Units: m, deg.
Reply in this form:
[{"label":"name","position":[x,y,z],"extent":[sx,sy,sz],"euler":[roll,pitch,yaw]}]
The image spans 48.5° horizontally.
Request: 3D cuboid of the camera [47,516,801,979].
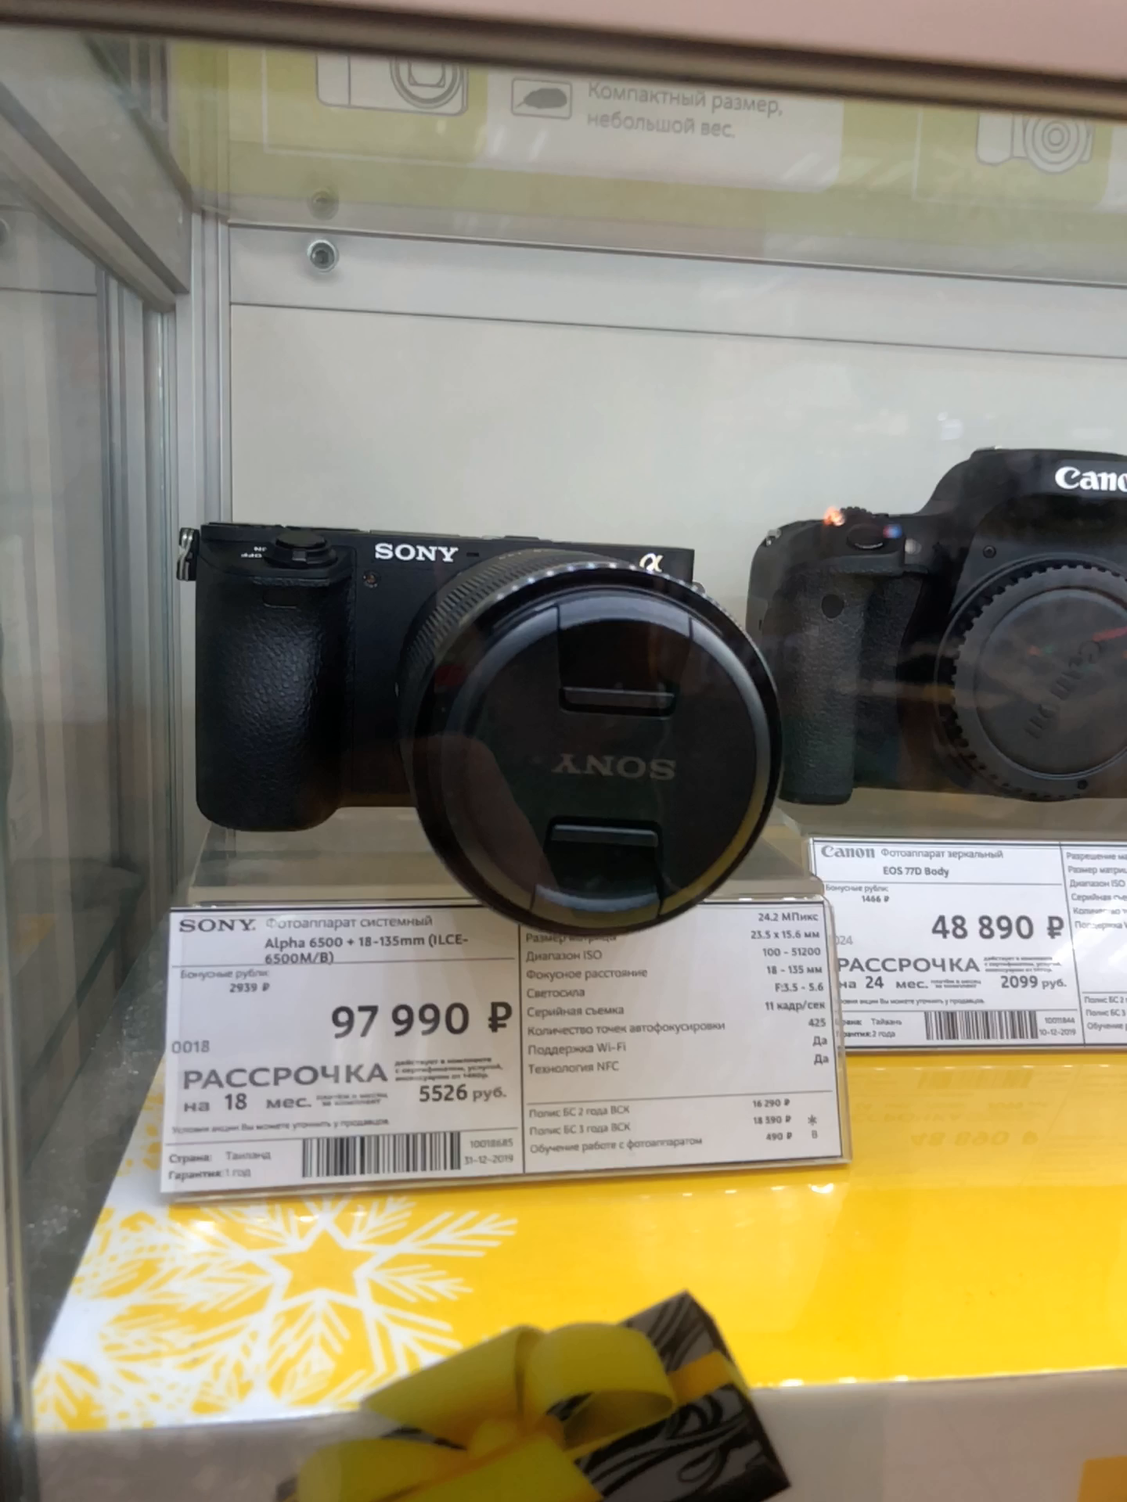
[{"label":"camera","position":[-0.030,-0.010,0.284],"extent":[0.130,0.080,0.123],"euler":[1,11,-6]}]
